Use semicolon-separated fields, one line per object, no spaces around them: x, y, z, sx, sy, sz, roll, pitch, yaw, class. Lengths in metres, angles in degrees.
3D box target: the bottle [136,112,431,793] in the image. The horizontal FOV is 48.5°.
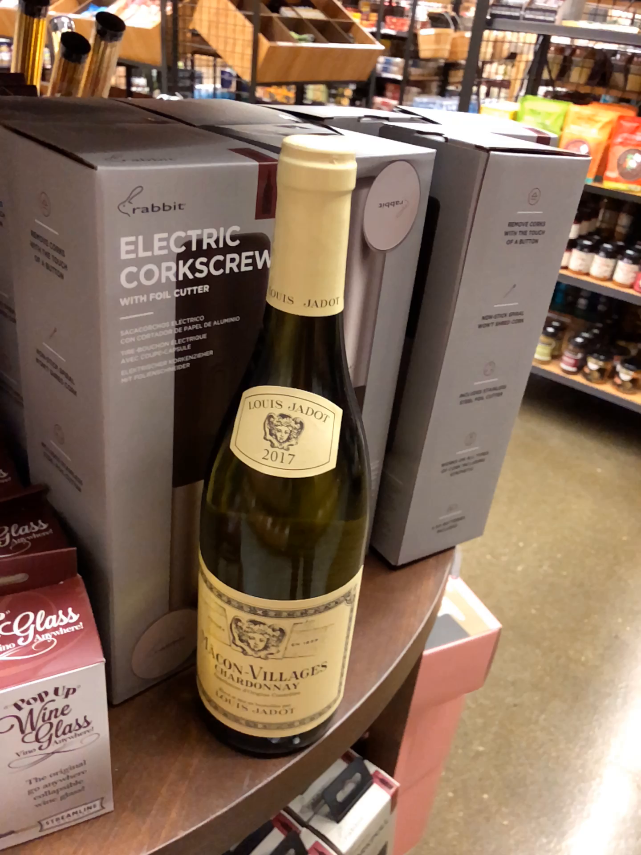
-0.020;0.027;0.327;0.090;0.299;0.090;5;30;-3;bottle
